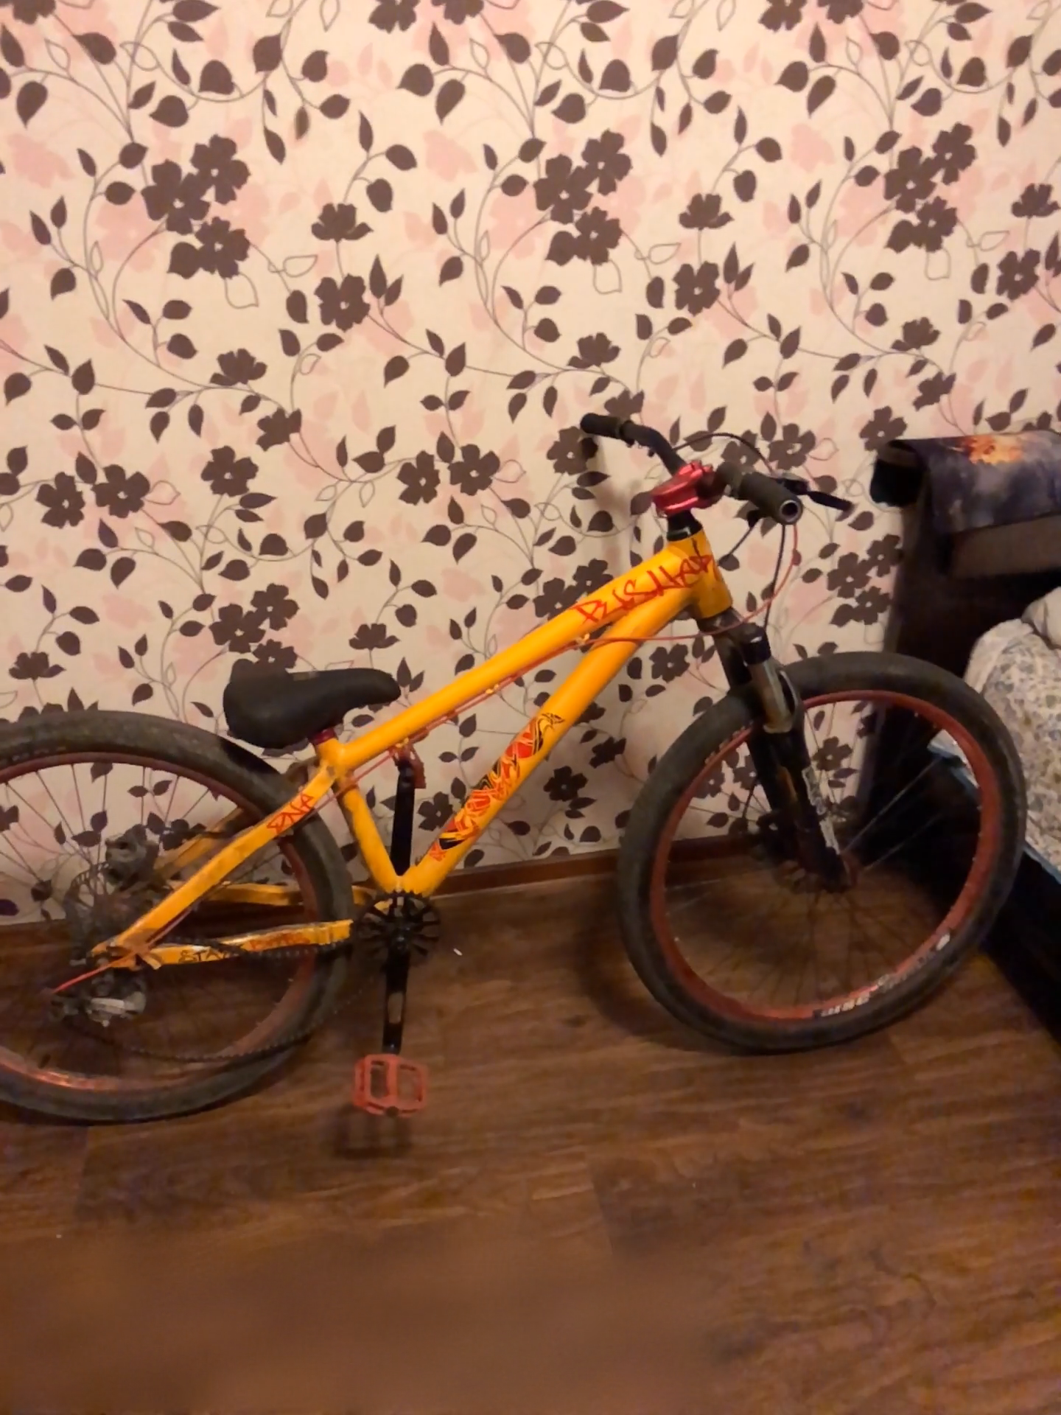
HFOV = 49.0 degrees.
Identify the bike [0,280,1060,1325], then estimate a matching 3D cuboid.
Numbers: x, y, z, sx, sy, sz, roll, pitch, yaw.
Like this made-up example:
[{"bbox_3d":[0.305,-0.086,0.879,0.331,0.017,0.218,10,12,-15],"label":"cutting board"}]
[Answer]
[{"bbox_3d":[-0.086,0.082,1.598,1.676,1.005,0.664,-7,30,-6],"label":"bike"}]
